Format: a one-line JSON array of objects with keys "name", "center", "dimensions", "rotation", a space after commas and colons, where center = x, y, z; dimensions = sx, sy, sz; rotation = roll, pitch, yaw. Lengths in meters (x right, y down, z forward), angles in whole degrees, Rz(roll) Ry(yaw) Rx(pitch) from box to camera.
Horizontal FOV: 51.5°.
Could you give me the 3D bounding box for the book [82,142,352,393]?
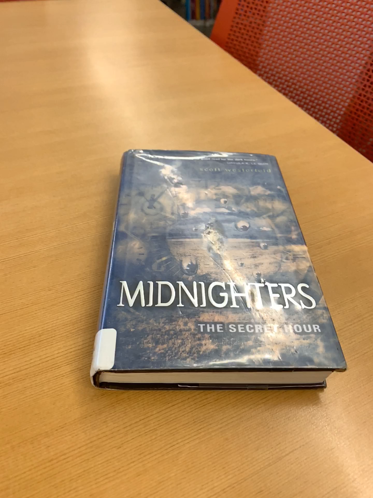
[{"name": "book", "center": [0.013, -0.003, 0.300], "dimensions": [0.150, 0.040, 0.215], "rotation": [1, 47, -5]}]
